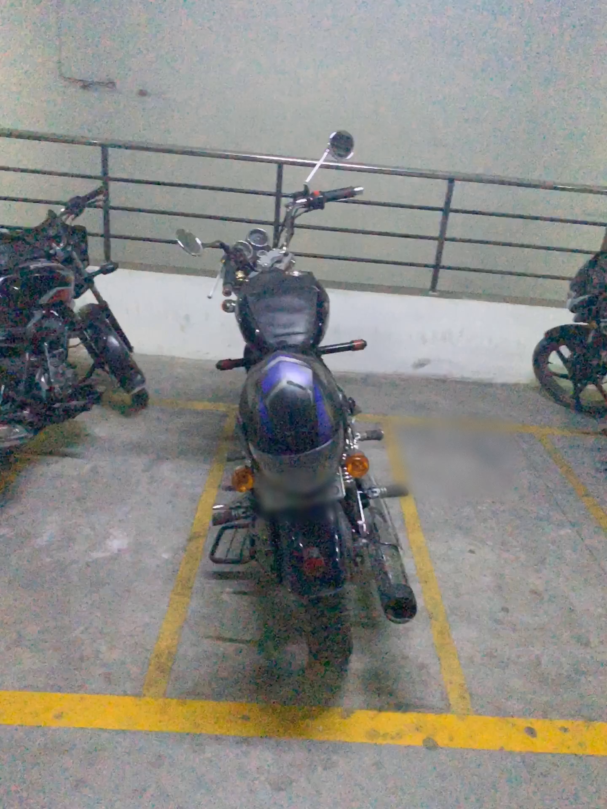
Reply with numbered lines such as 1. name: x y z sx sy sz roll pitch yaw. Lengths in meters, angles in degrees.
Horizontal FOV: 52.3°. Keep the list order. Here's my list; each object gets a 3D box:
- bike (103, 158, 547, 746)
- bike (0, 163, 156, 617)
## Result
1. bike: -0.177 -0.058 2.144 0.842 1.303 1.674 0 24 -13
2. bike: -1.201 -0.241 2.418 0.593 1.193 1.509 11 25 12
